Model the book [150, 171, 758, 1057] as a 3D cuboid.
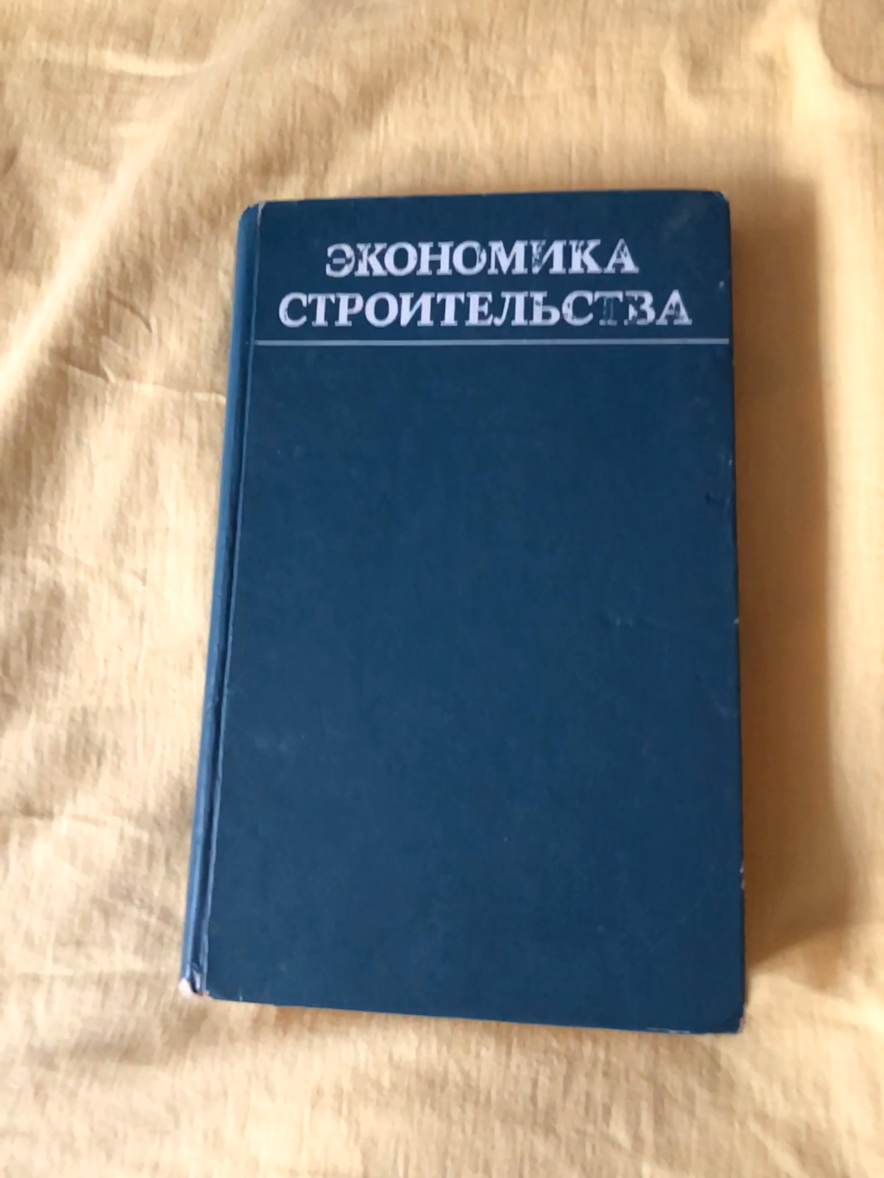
[{"bbox_3d":[0.005,0.000,0.240,0.130,0.030,0.200,1,80,6],"label":"book"}]
